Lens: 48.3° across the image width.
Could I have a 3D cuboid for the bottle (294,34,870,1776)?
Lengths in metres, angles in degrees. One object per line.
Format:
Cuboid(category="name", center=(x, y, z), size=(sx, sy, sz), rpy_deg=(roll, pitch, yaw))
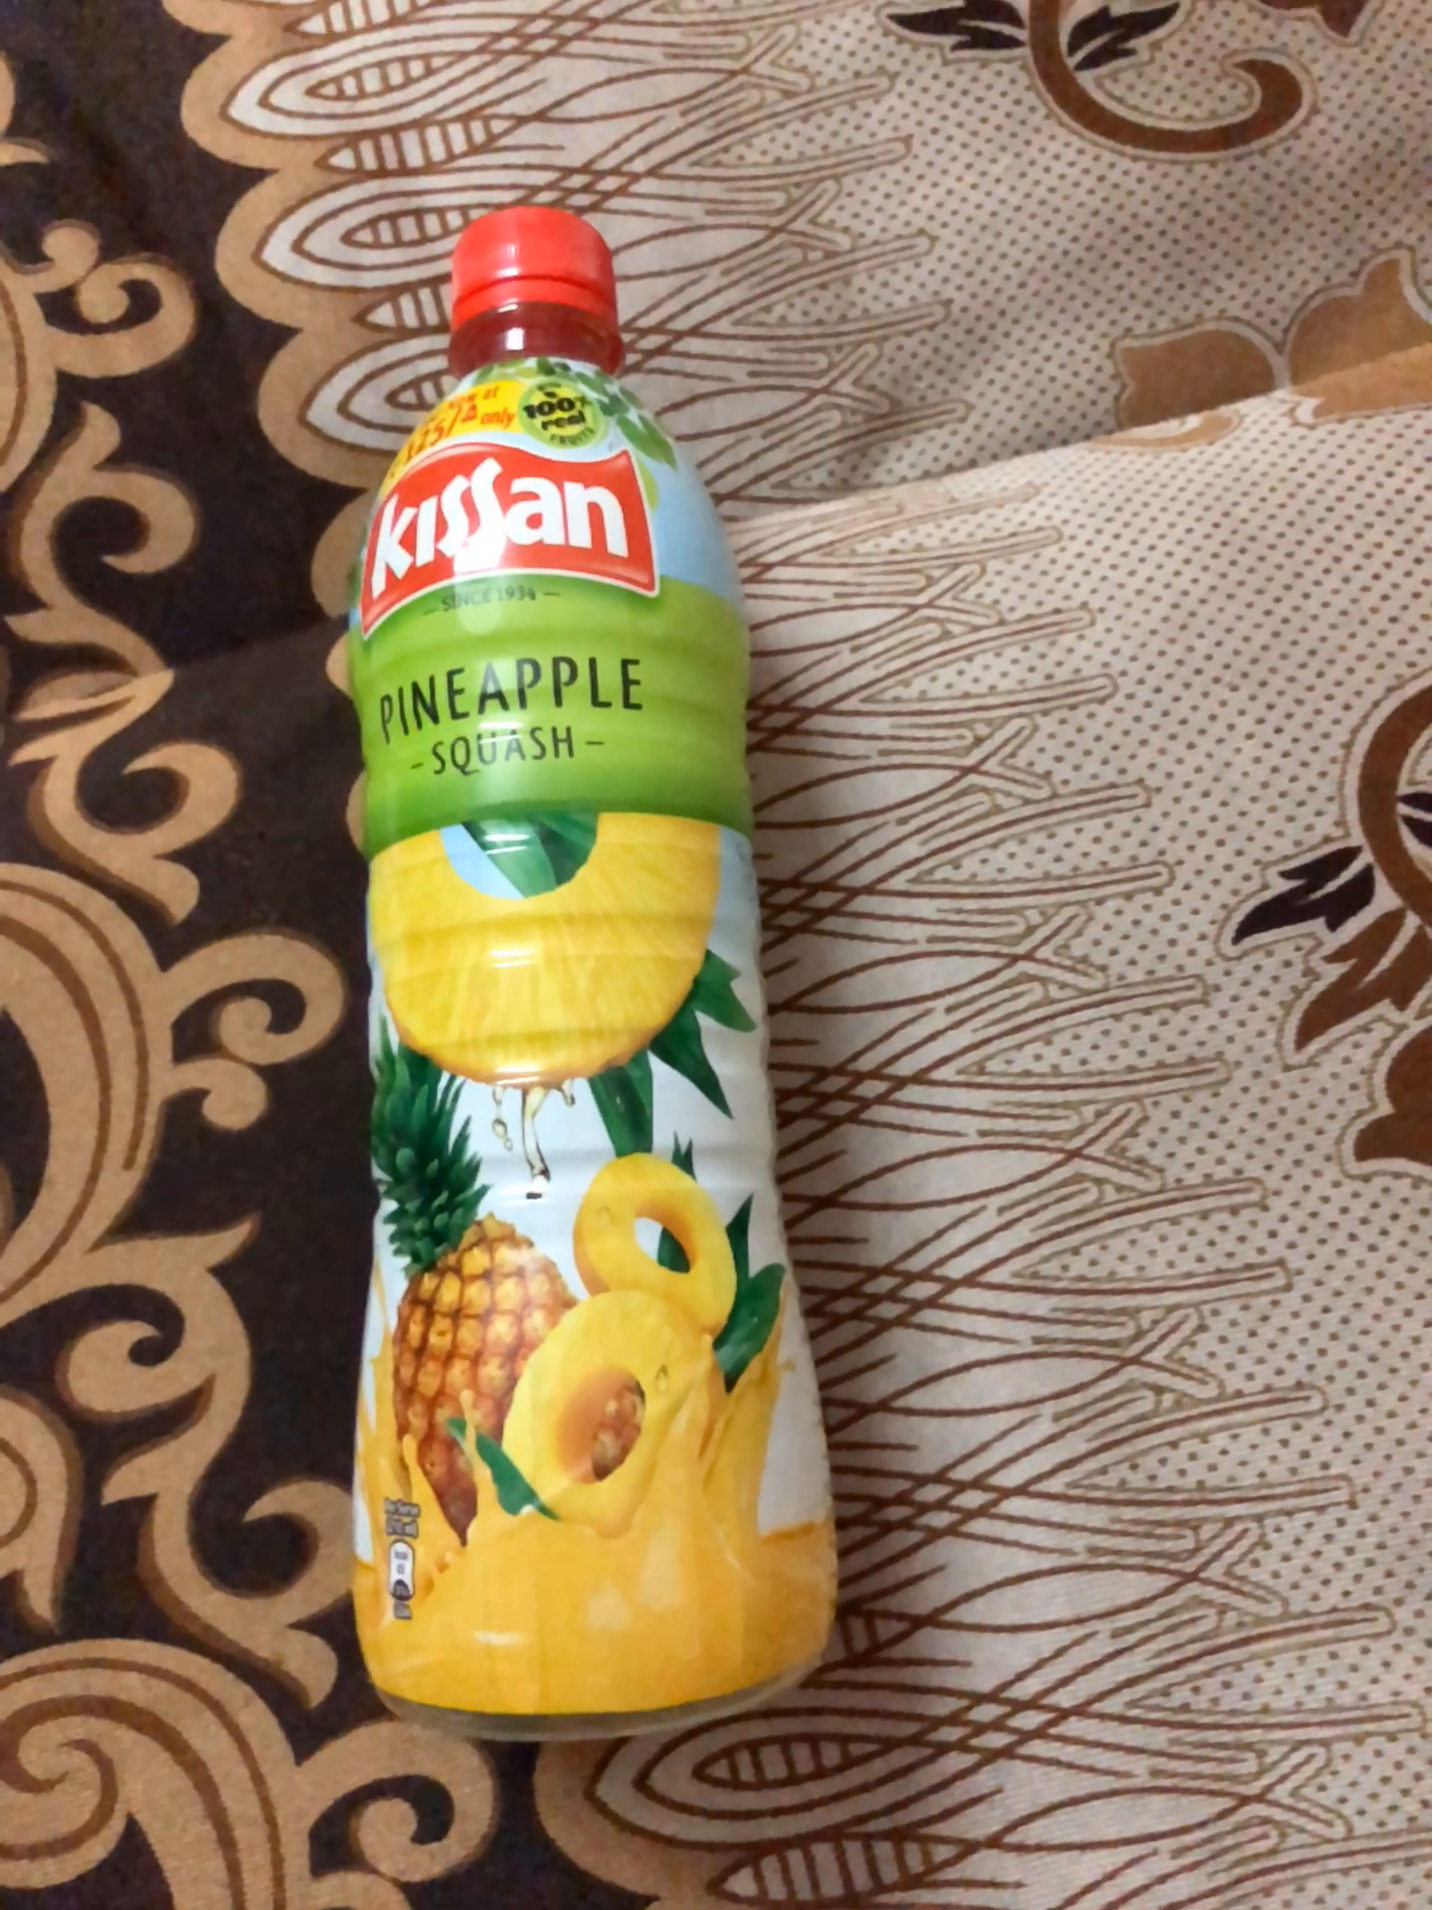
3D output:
Cuboid(category="bottle", center=(-0.020, -0.012, 0.249), size=(0.070, 0.060, 0.240), rpy_deg=(-4, 80, 4))
